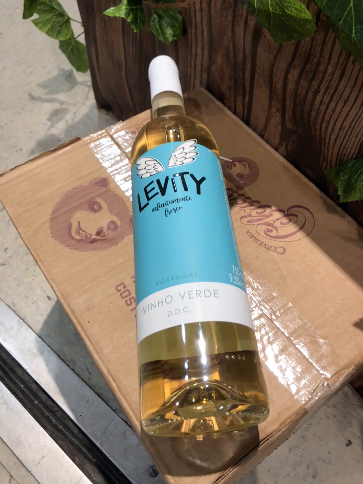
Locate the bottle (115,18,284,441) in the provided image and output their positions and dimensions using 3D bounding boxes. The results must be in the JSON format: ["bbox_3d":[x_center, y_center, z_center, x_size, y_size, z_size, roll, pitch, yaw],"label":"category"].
[{"bbox_3d":[-0.005,-0.045,0.305,0.080,0.050,0.342,-4,59,-3],"label":"bottle"}]
